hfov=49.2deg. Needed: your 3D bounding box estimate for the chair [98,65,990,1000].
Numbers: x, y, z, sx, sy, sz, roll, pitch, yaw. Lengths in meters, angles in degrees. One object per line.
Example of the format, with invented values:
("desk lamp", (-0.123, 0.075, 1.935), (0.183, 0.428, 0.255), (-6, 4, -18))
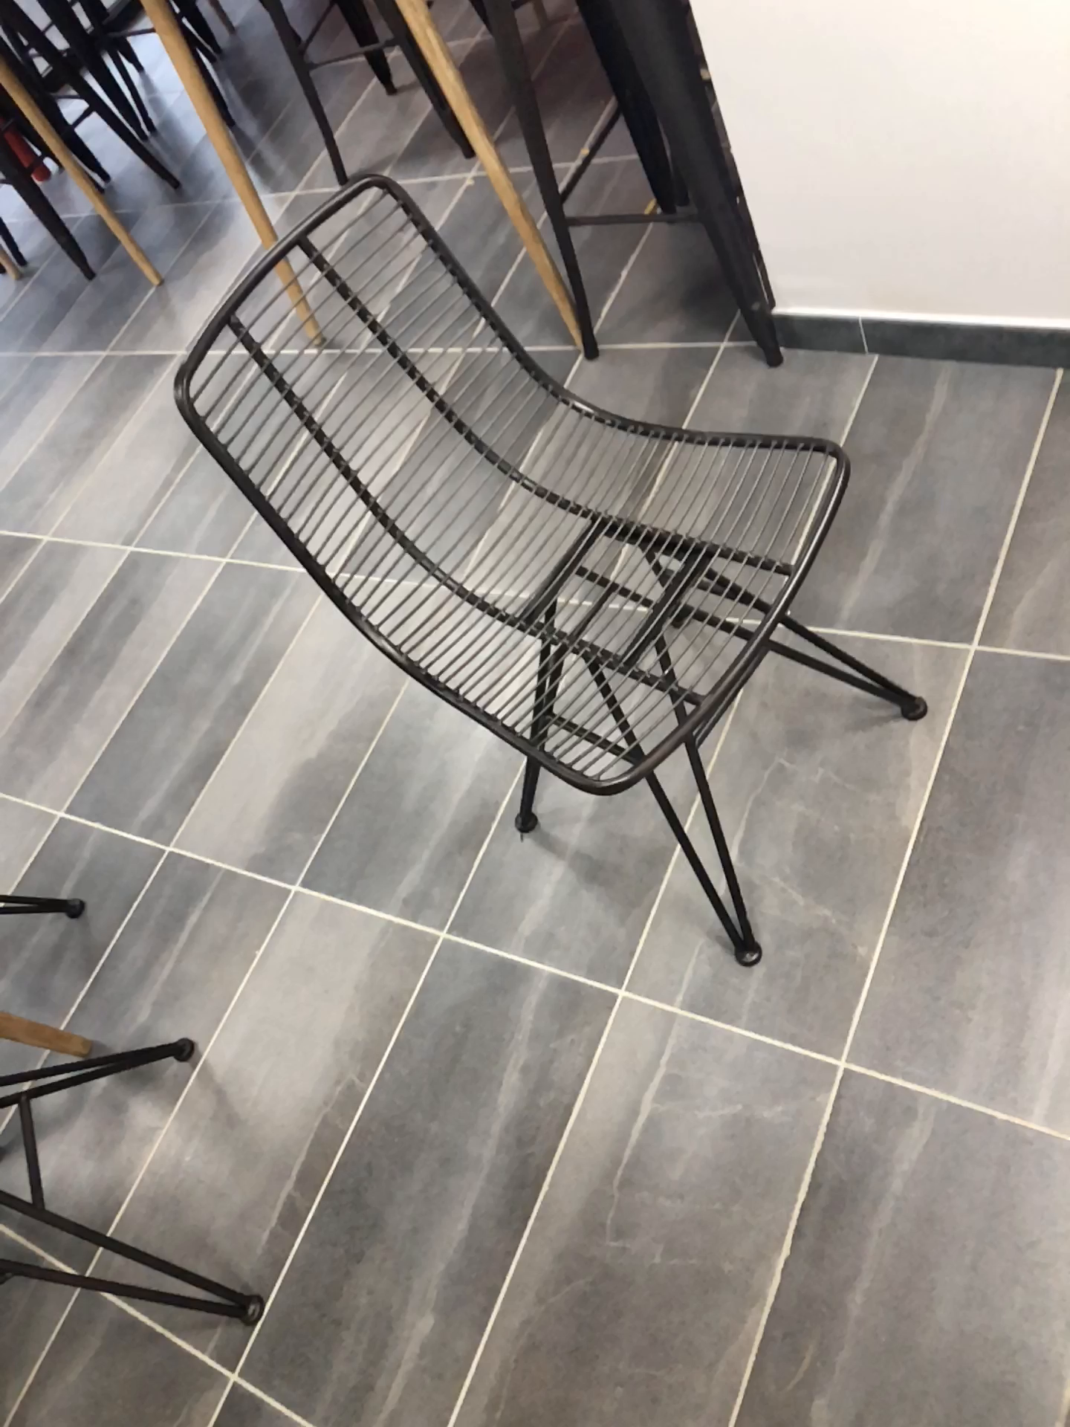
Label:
("chair", (0.085, -0.166, 1.265), (0.521, 0.787, 0.501), (27, 72, 38))
